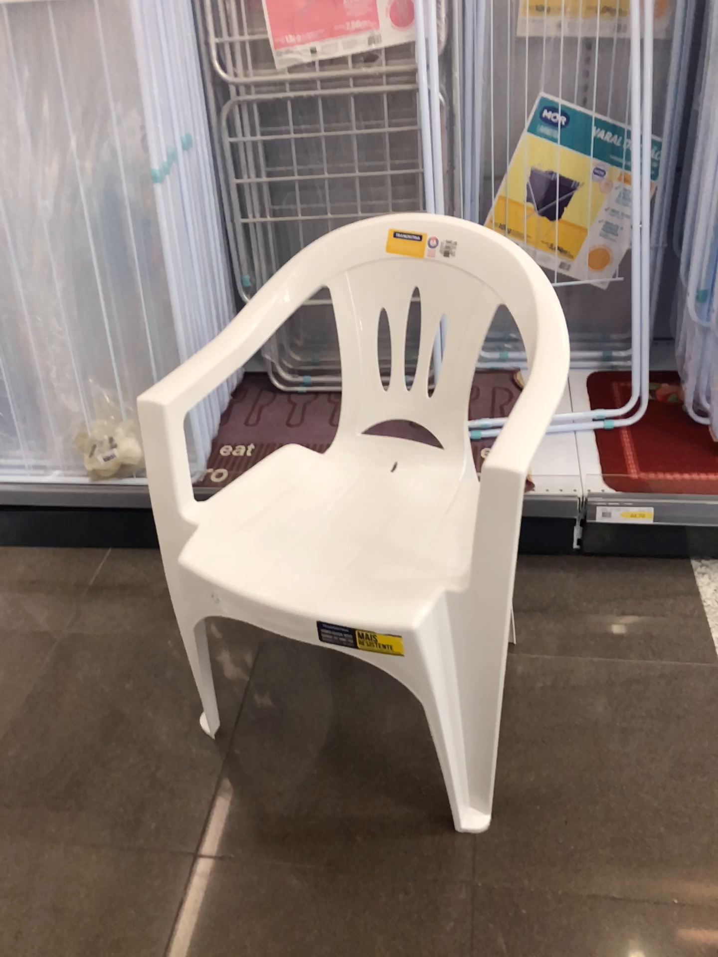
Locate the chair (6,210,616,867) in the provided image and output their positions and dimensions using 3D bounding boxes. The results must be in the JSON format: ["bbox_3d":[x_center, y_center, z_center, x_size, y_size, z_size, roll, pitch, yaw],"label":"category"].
[{"bbox_3d":[0.017,0.044,1.223,0.601,0.704,0.604,9,39,21],"label":"chair"}]
